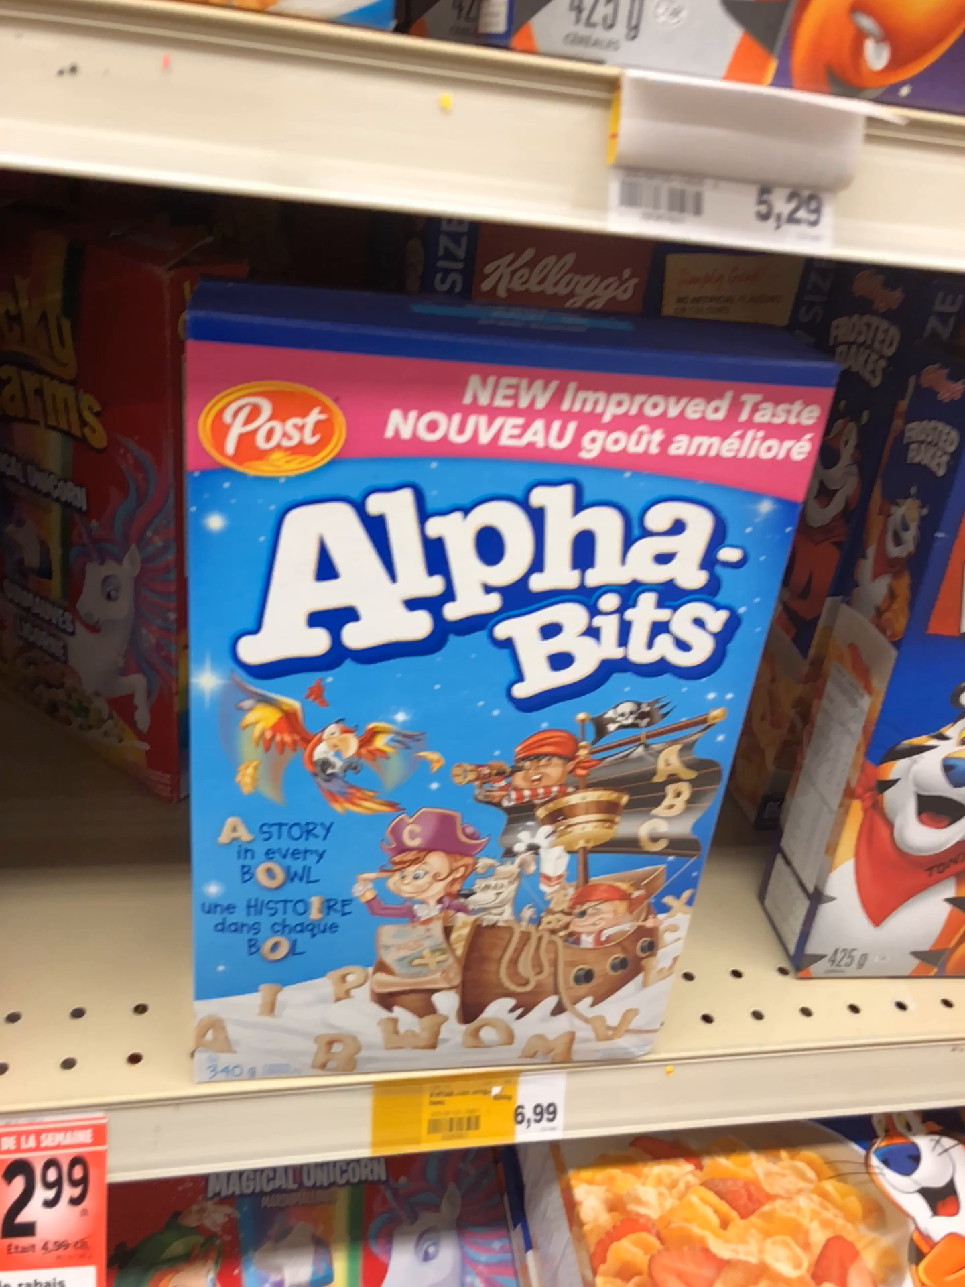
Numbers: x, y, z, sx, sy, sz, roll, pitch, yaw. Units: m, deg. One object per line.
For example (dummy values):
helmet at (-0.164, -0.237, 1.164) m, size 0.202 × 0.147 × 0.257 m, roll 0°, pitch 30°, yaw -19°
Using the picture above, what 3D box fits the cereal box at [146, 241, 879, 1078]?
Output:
cereal box at (-0.009, 0.028, 0.381) m, size 0.200 × 0.298 × 0.060 m, roll 2°, pitch 30°, yaw -11°
